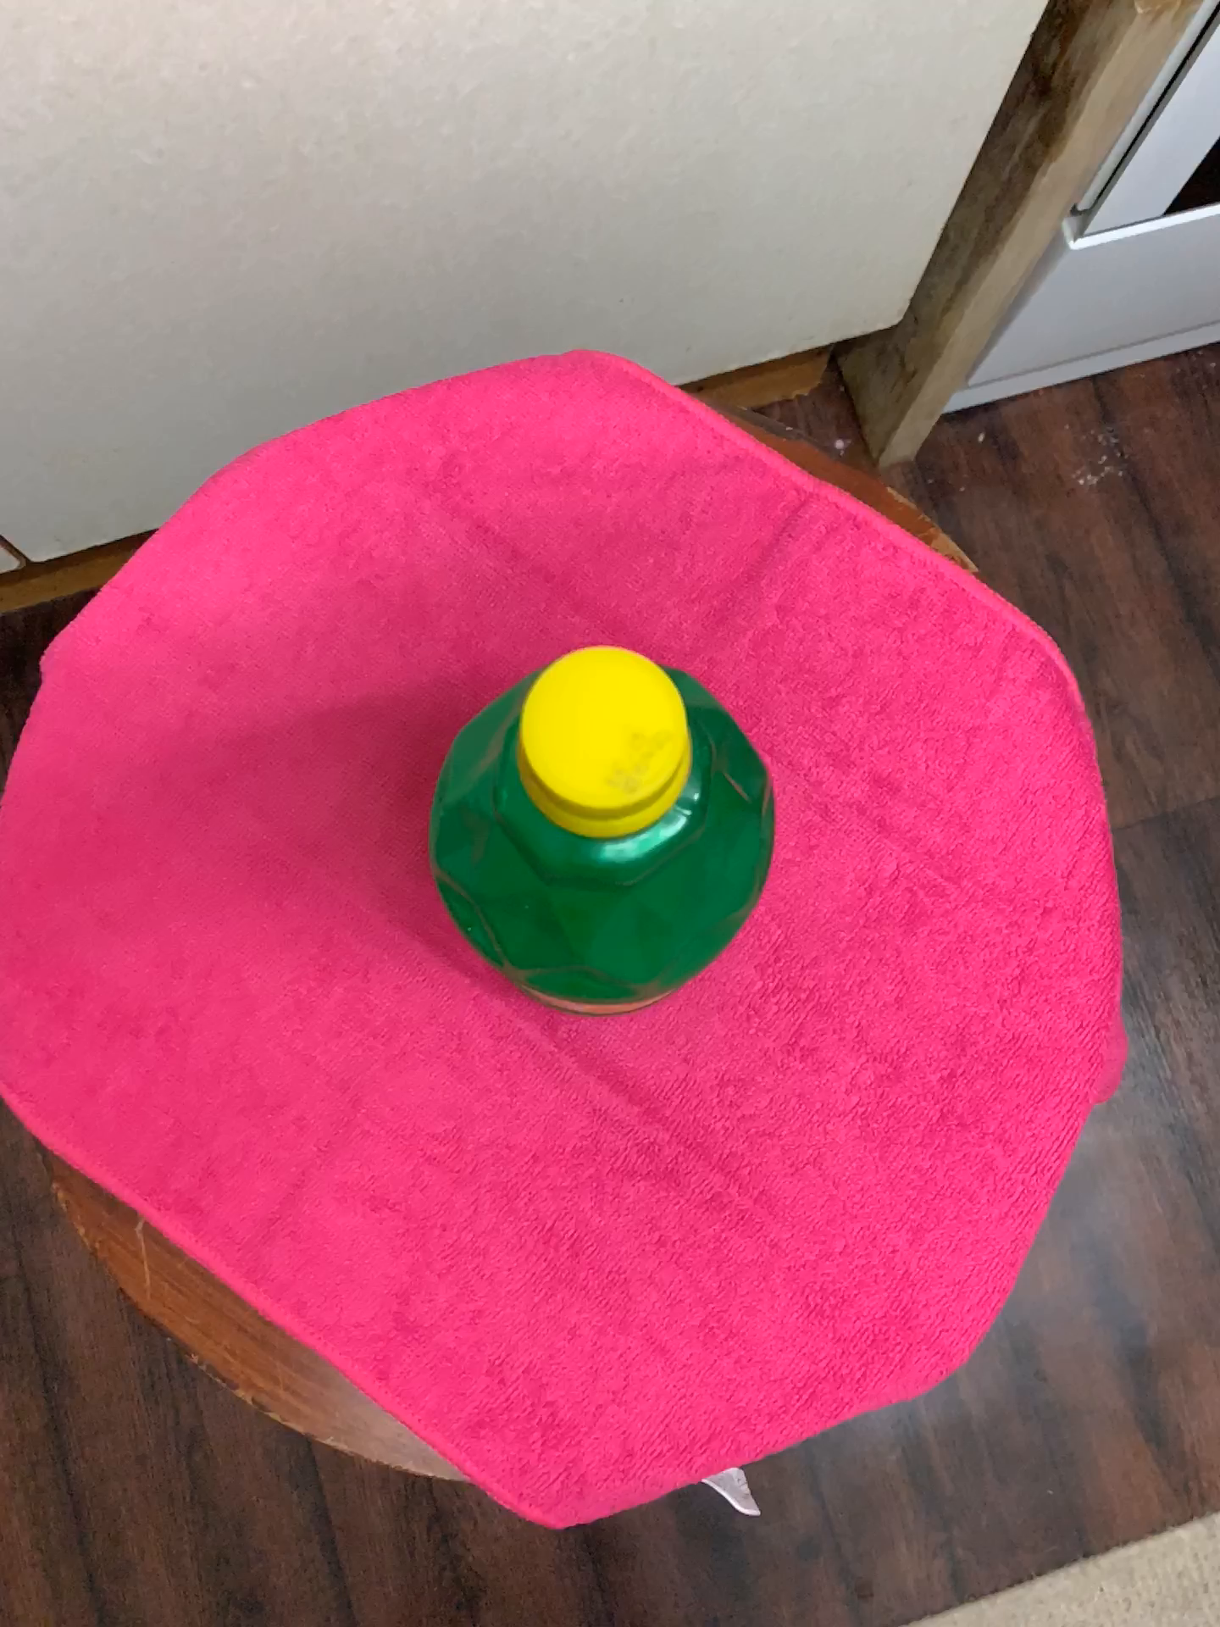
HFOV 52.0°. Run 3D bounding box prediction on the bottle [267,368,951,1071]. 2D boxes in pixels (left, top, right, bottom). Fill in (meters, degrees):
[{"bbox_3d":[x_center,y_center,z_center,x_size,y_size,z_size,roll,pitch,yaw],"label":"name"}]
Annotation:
[{"bbox_3d":[-0.001,0.000,0.328,0.090,0.230,0.100,19,80,2],"label":"bottle"}]
